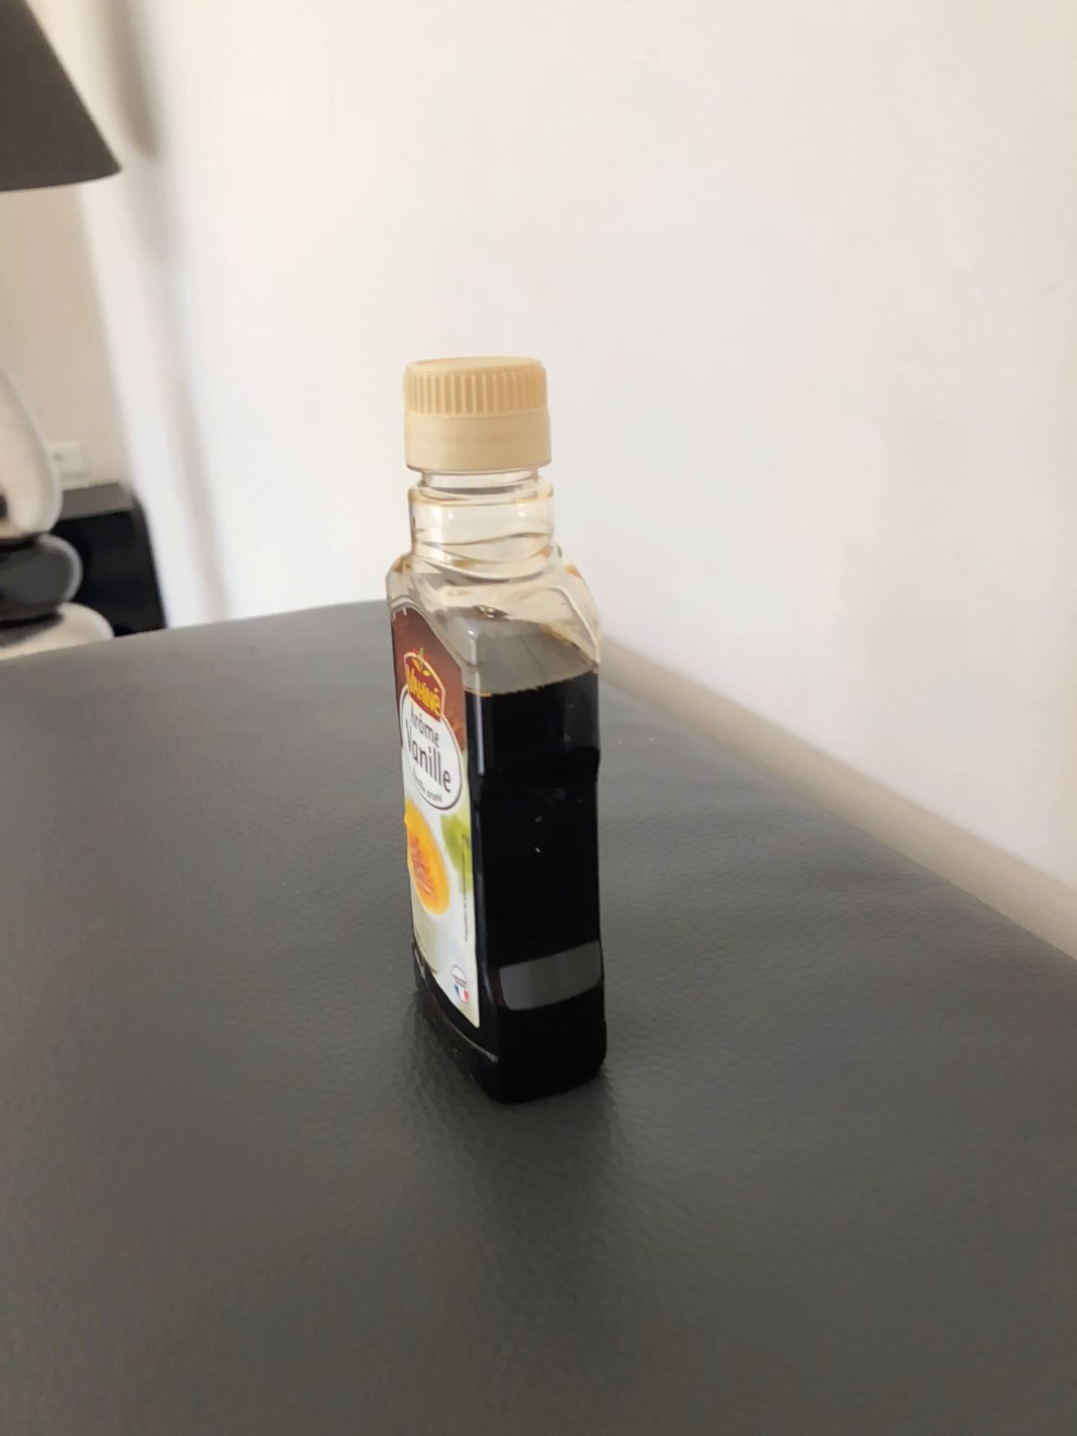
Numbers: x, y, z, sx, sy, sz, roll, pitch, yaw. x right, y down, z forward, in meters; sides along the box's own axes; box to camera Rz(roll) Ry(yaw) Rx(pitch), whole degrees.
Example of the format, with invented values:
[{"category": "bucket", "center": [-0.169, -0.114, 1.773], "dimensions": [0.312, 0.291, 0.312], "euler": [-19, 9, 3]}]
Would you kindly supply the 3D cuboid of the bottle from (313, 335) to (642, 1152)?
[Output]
[{"category": "bottle", "center": [-0.013, 0.003, 0.261], "dimensions": [0.040, 0.159, 0.070], "euler": [-11, 23, -23]}]
